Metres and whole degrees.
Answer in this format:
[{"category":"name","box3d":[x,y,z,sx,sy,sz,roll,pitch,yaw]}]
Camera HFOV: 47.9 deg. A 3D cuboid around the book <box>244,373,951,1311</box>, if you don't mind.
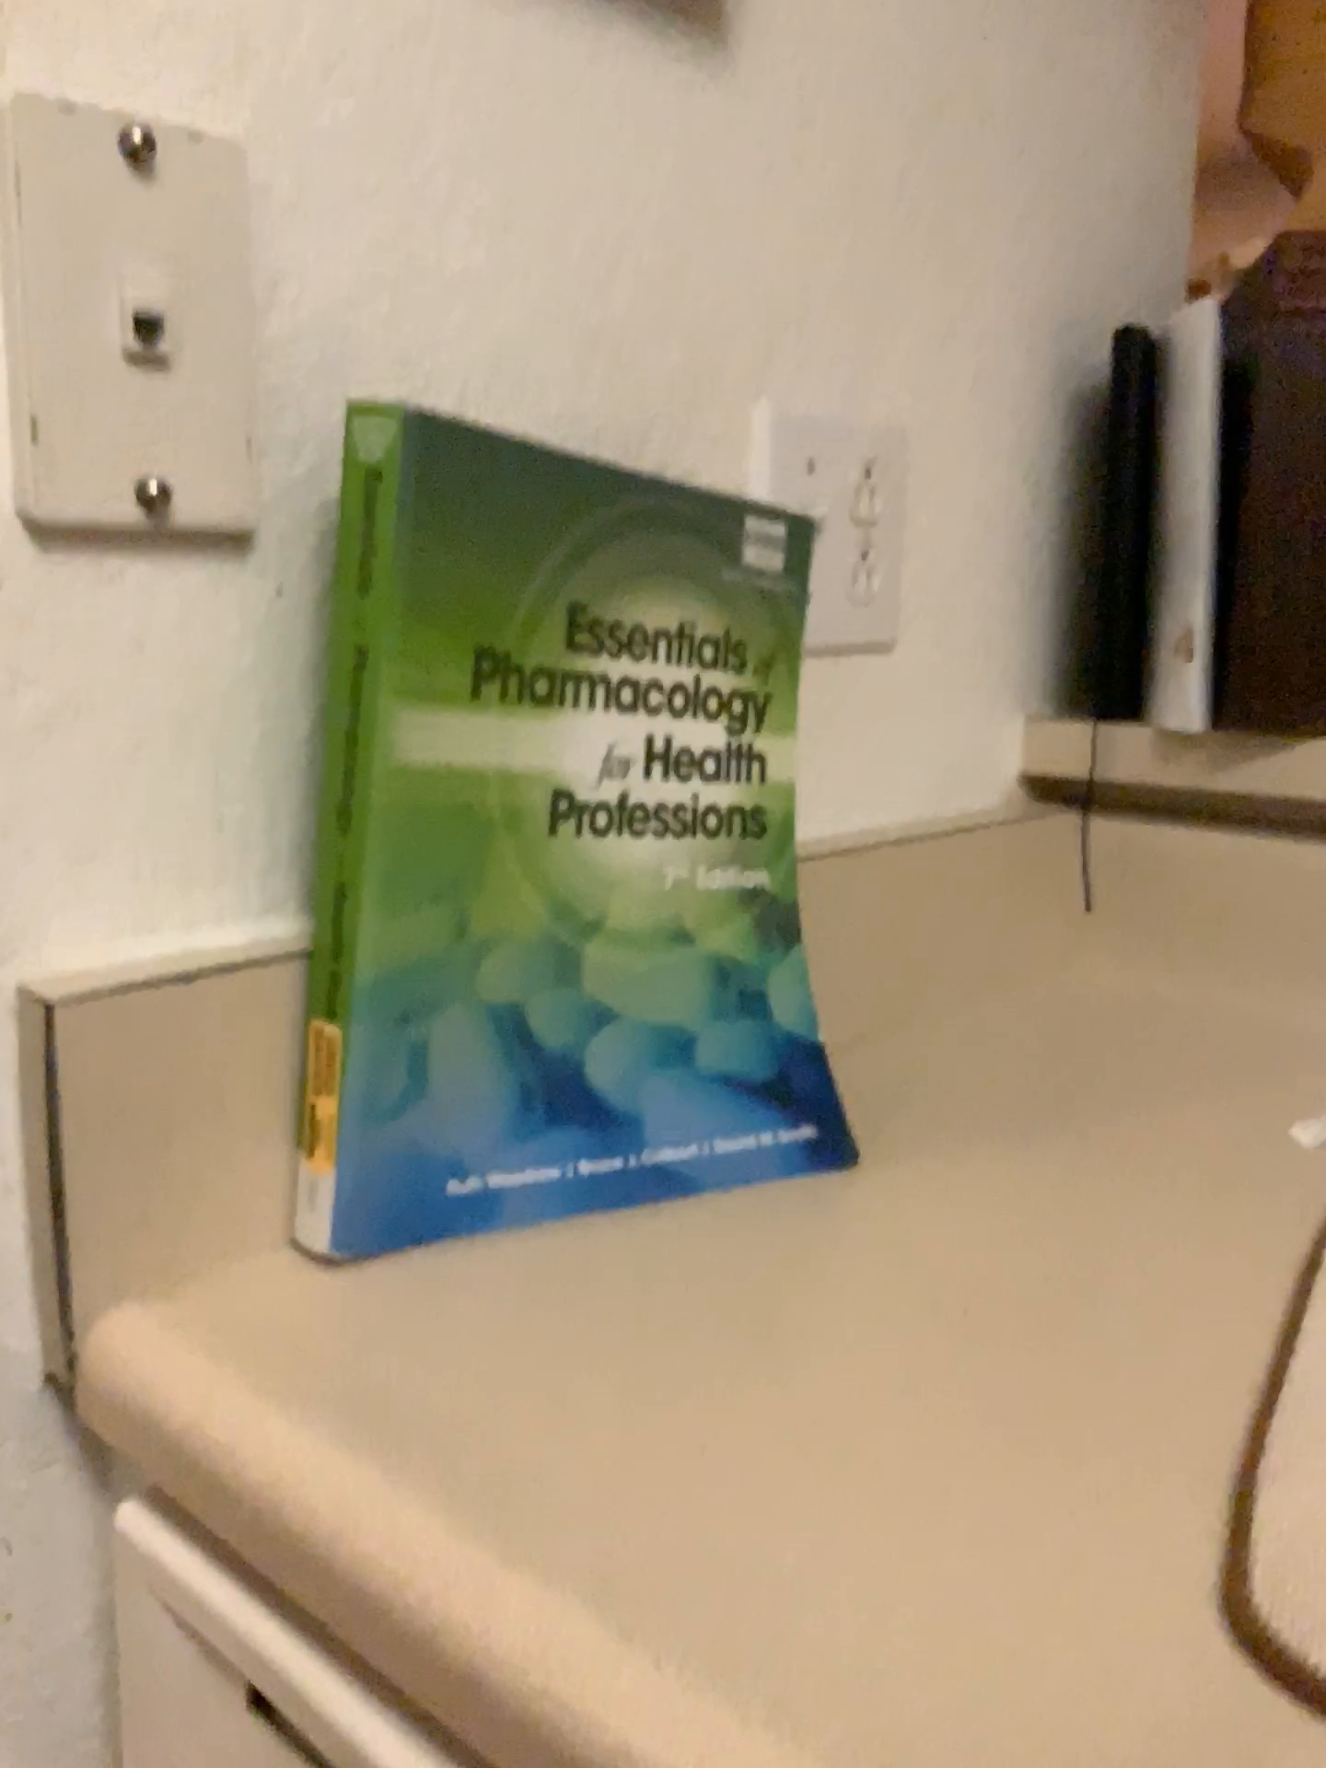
[{"category":"book","box3d":[-0.018,-0.020,0.538,0.240,0.270,0.090,-5,12,-41]}]
